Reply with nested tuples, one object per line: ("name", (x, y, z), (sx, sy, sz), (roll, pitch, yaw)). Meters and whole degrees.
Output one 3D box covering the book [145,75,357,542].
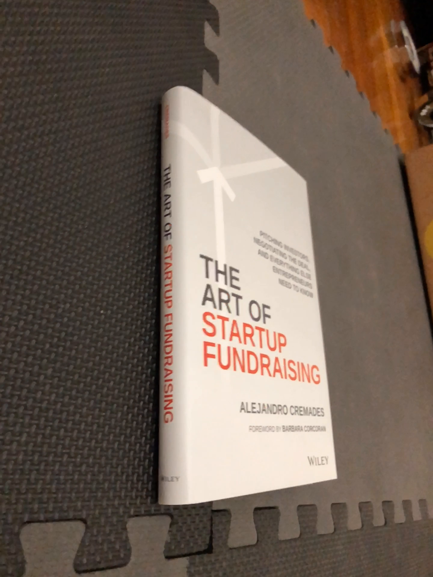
("book", (0.028, 0.014, 0.319), (0.171, 0.030, 0.250), (22, 59, -48))
